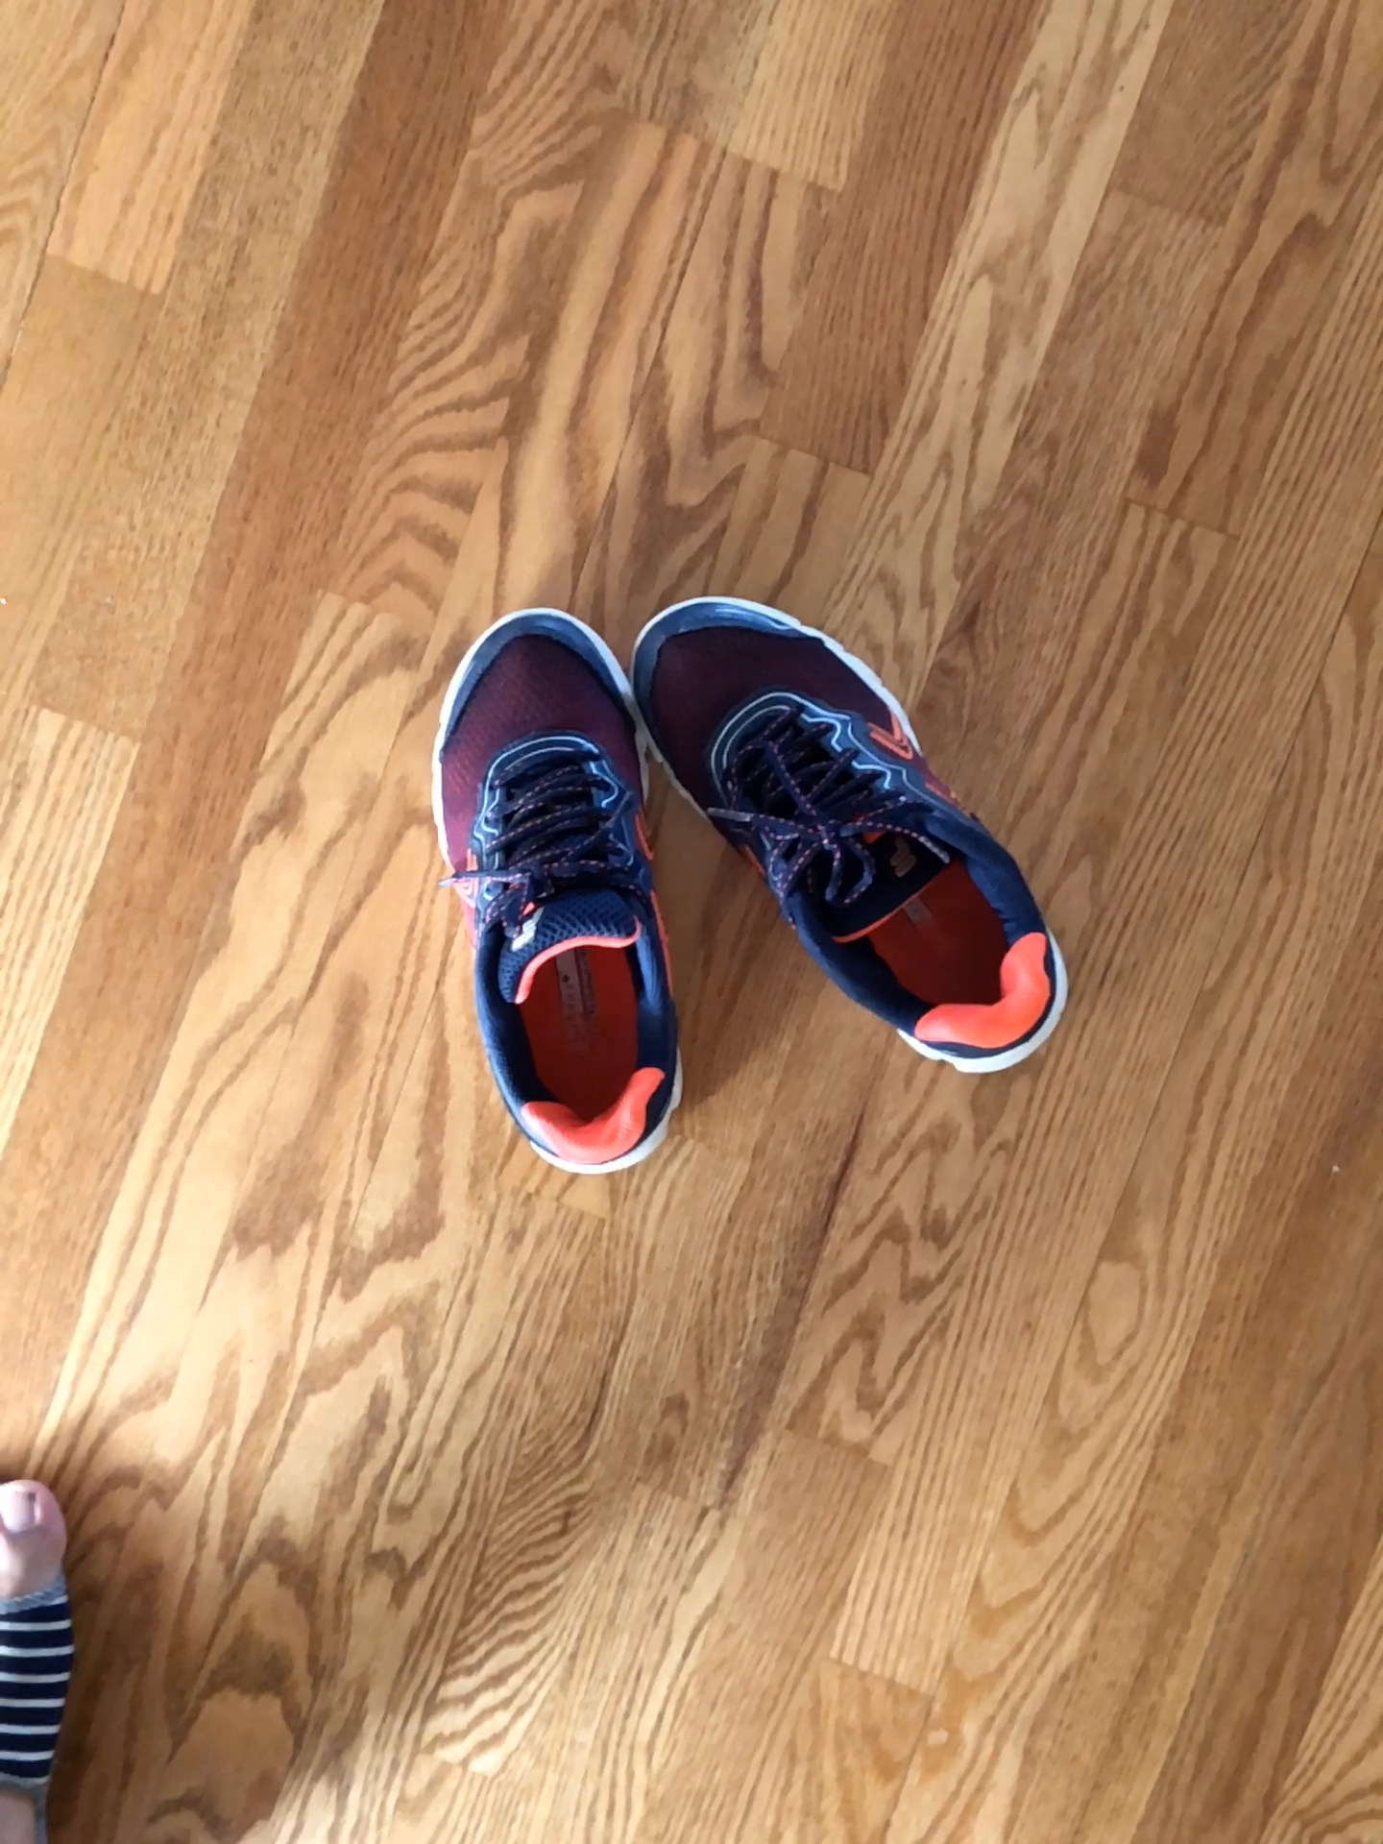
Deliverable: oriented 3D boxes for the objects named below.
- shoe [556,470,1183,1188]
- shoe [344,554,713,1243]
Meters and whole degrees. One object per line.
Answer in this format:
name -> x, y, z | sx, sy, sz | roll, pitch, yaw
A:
shoe -> 0.074, -0.039, 0.672 | 0.116, 0.110, 0.277 | -36, 91, 2
shoe -> -0.066, -0.010, 0.676 | 0.108, 0.110, 0.270 | -9, 92, 2
